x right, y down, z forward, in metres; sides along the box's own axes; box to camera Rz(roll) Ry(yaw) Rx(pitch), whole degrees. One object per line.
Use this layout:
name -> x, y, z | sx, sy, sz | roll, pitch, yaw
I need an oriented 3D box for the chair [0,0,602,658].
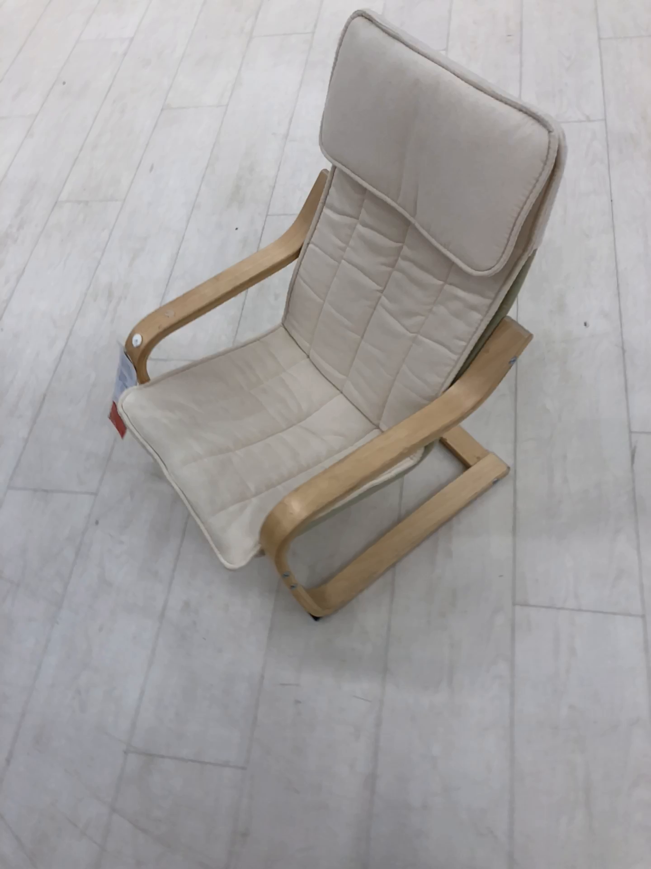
chair -> -0.048, -0.137, 1.087 | 0.560, 0.688, 0.531 | -35, 59, -12
